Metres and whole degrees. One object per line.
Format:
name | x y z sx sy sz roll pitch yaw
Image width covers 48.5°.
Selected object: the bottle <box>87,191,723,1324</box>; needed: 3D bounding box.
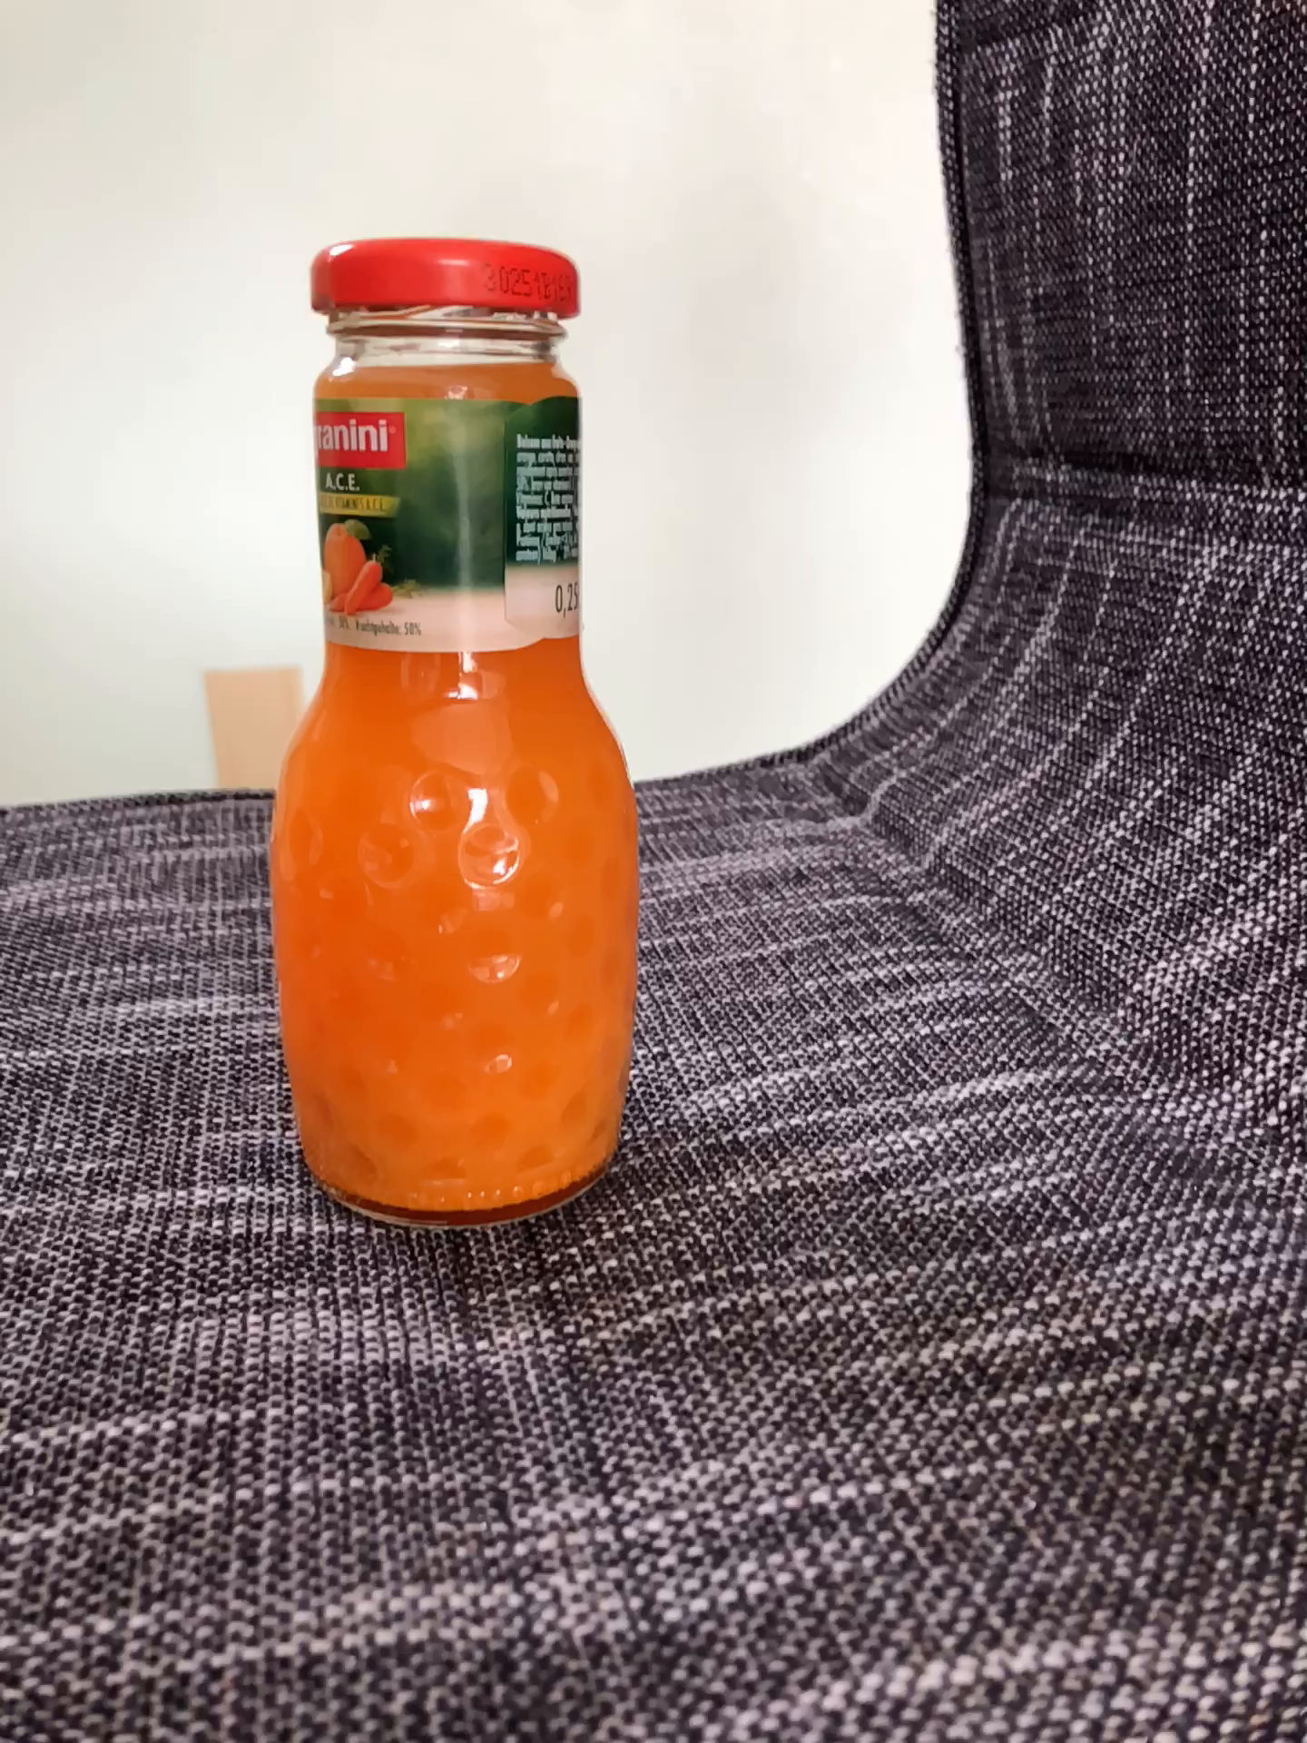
bottle | -0.036 -0.020 0.232 0.060 0.149 0.070 -16 22 -38
